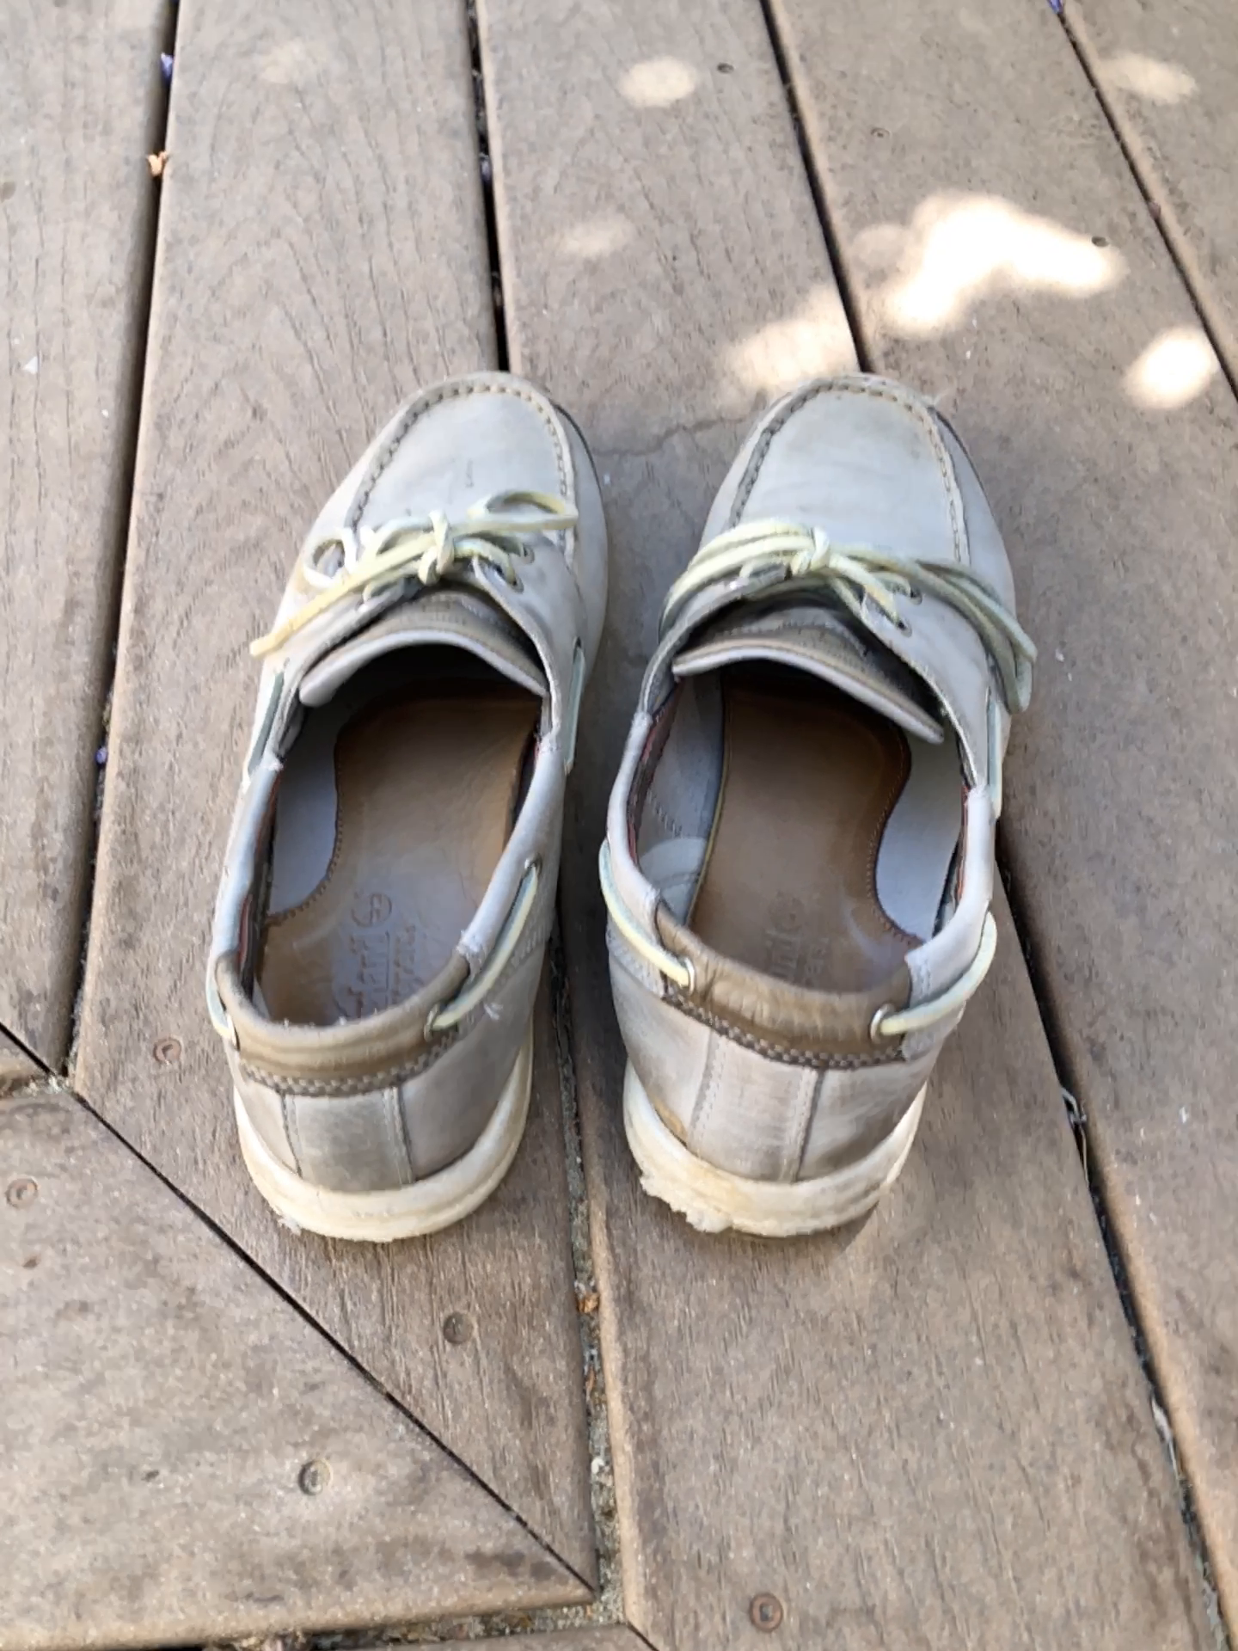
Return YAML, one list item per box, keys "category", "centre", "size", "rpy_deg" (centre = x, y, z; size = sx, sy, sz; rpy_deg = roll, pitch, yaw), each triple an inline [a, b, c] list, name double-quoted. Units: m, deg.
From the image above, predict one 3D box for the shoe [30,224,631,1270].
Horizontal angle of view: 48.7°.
- category: "shoe"
  centre: [-0.061, -0.039, 0.411]
  size: [0.119, 0.095, 0.311]
  rpy_deg: [2, 59, 0]

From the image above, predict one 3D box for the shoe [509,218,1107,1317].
- category: "shoe"
  centre: [0.067, -0.035, 0.411]
  size: [0.121, 0.097, 0.313]
  rpy_deg: [10, 59, 5]
